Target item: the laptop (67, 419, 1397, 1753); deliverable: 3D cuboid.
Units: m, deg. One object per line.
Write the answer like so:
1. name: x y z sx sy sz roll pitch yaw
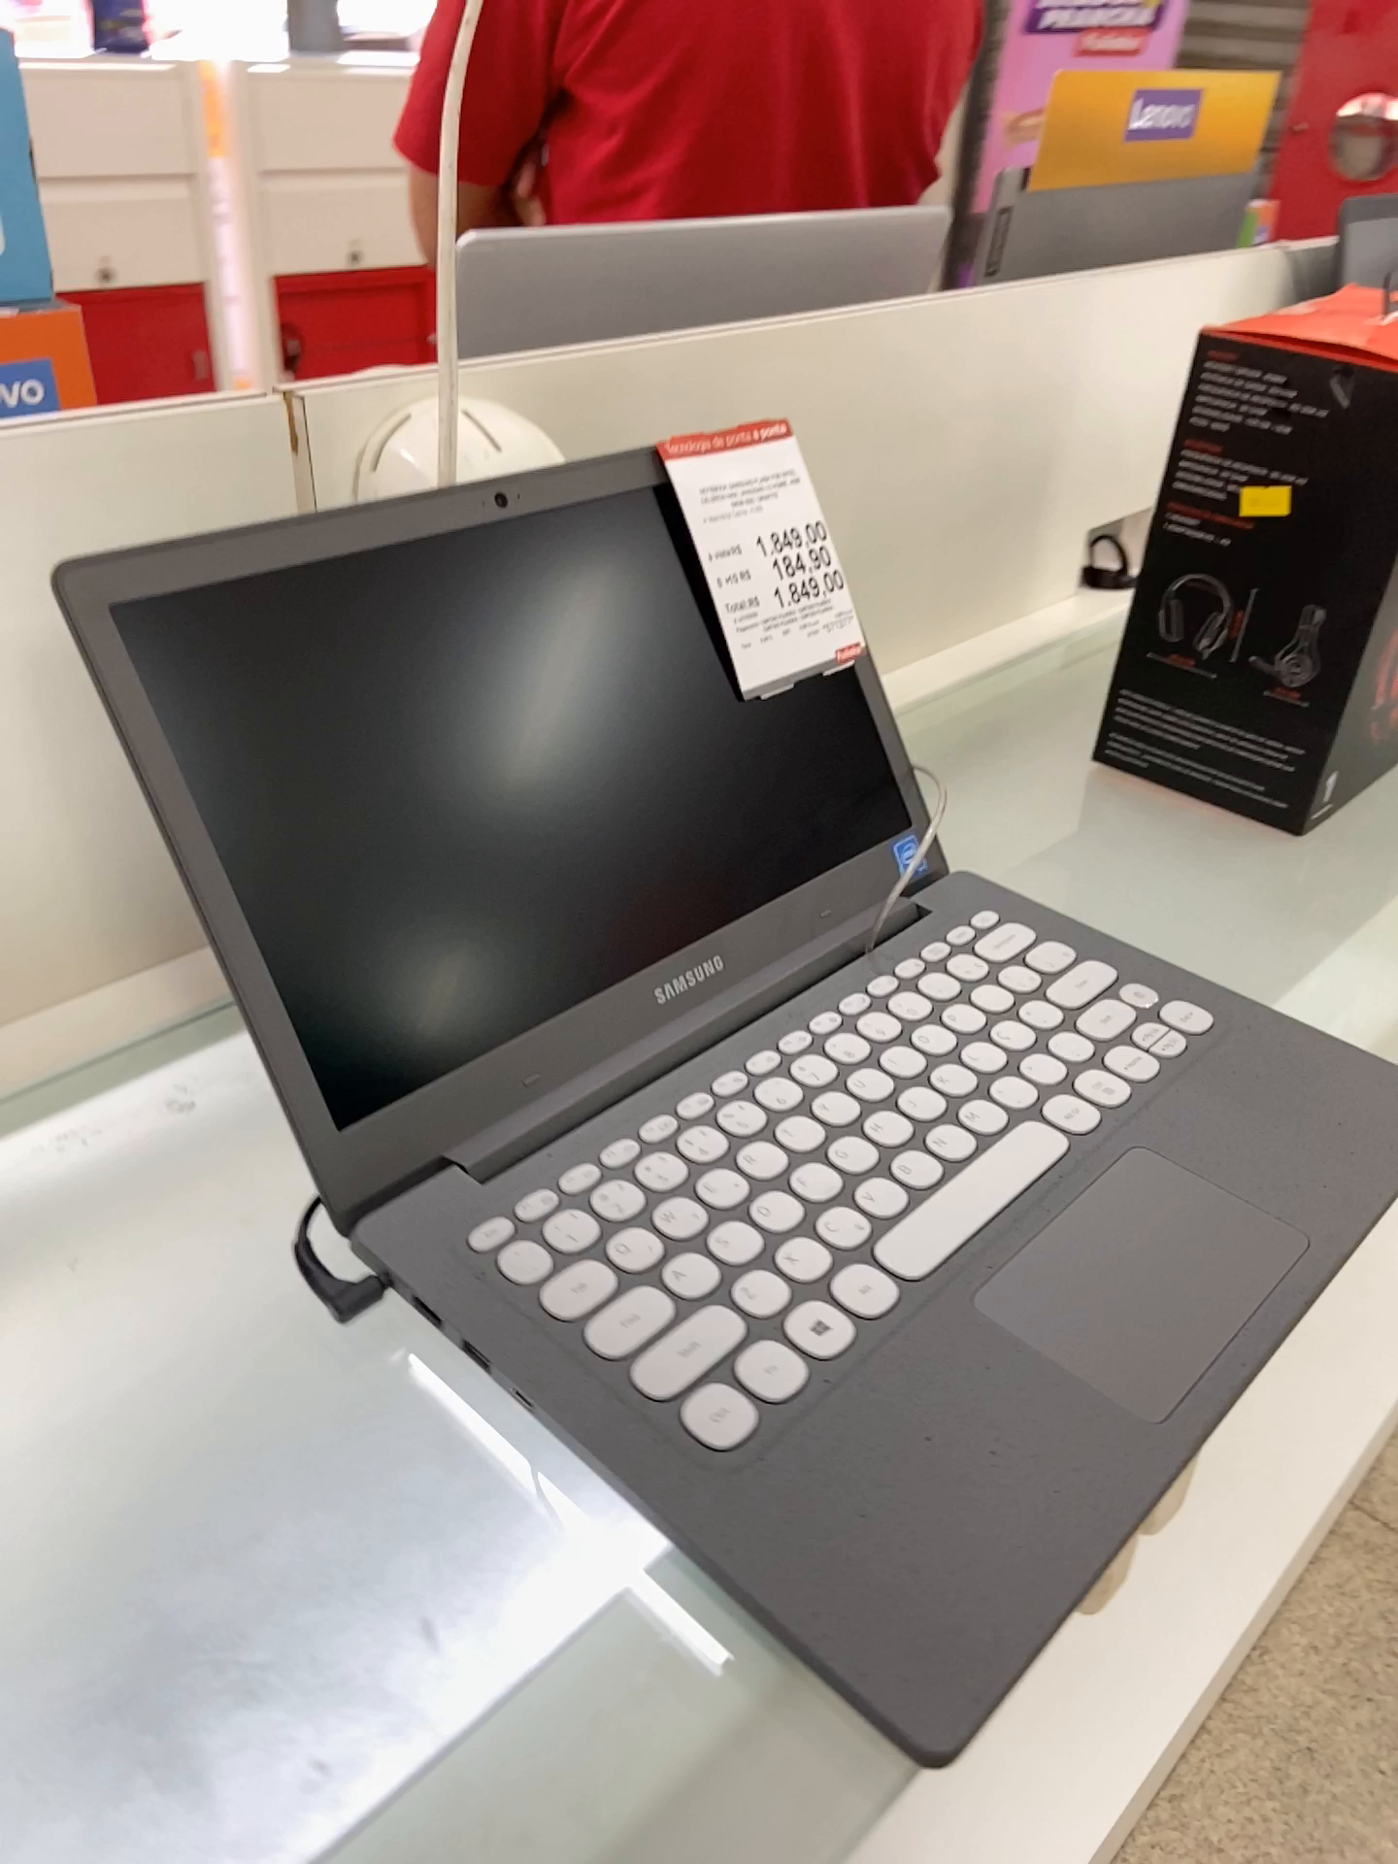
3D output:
1. laptop: 0.046 -0.022 0.466 0.341 0.172 0.326 29 40 35
